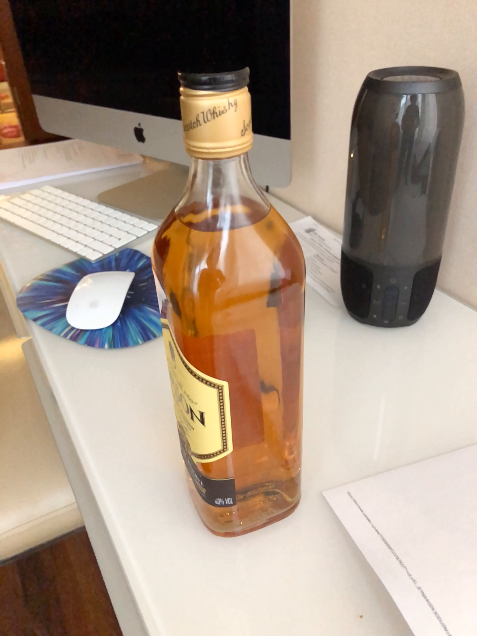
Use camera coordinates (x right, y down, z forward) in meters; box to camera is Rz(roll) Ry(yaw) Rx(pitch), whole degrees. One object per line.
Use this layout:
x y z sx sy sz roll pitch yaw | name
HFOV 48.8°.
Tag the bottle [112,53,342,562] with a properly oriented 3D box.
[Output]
-0.004 0.009 0.282 0.070 0.258 0.080 -13 35 -15 | bottle
